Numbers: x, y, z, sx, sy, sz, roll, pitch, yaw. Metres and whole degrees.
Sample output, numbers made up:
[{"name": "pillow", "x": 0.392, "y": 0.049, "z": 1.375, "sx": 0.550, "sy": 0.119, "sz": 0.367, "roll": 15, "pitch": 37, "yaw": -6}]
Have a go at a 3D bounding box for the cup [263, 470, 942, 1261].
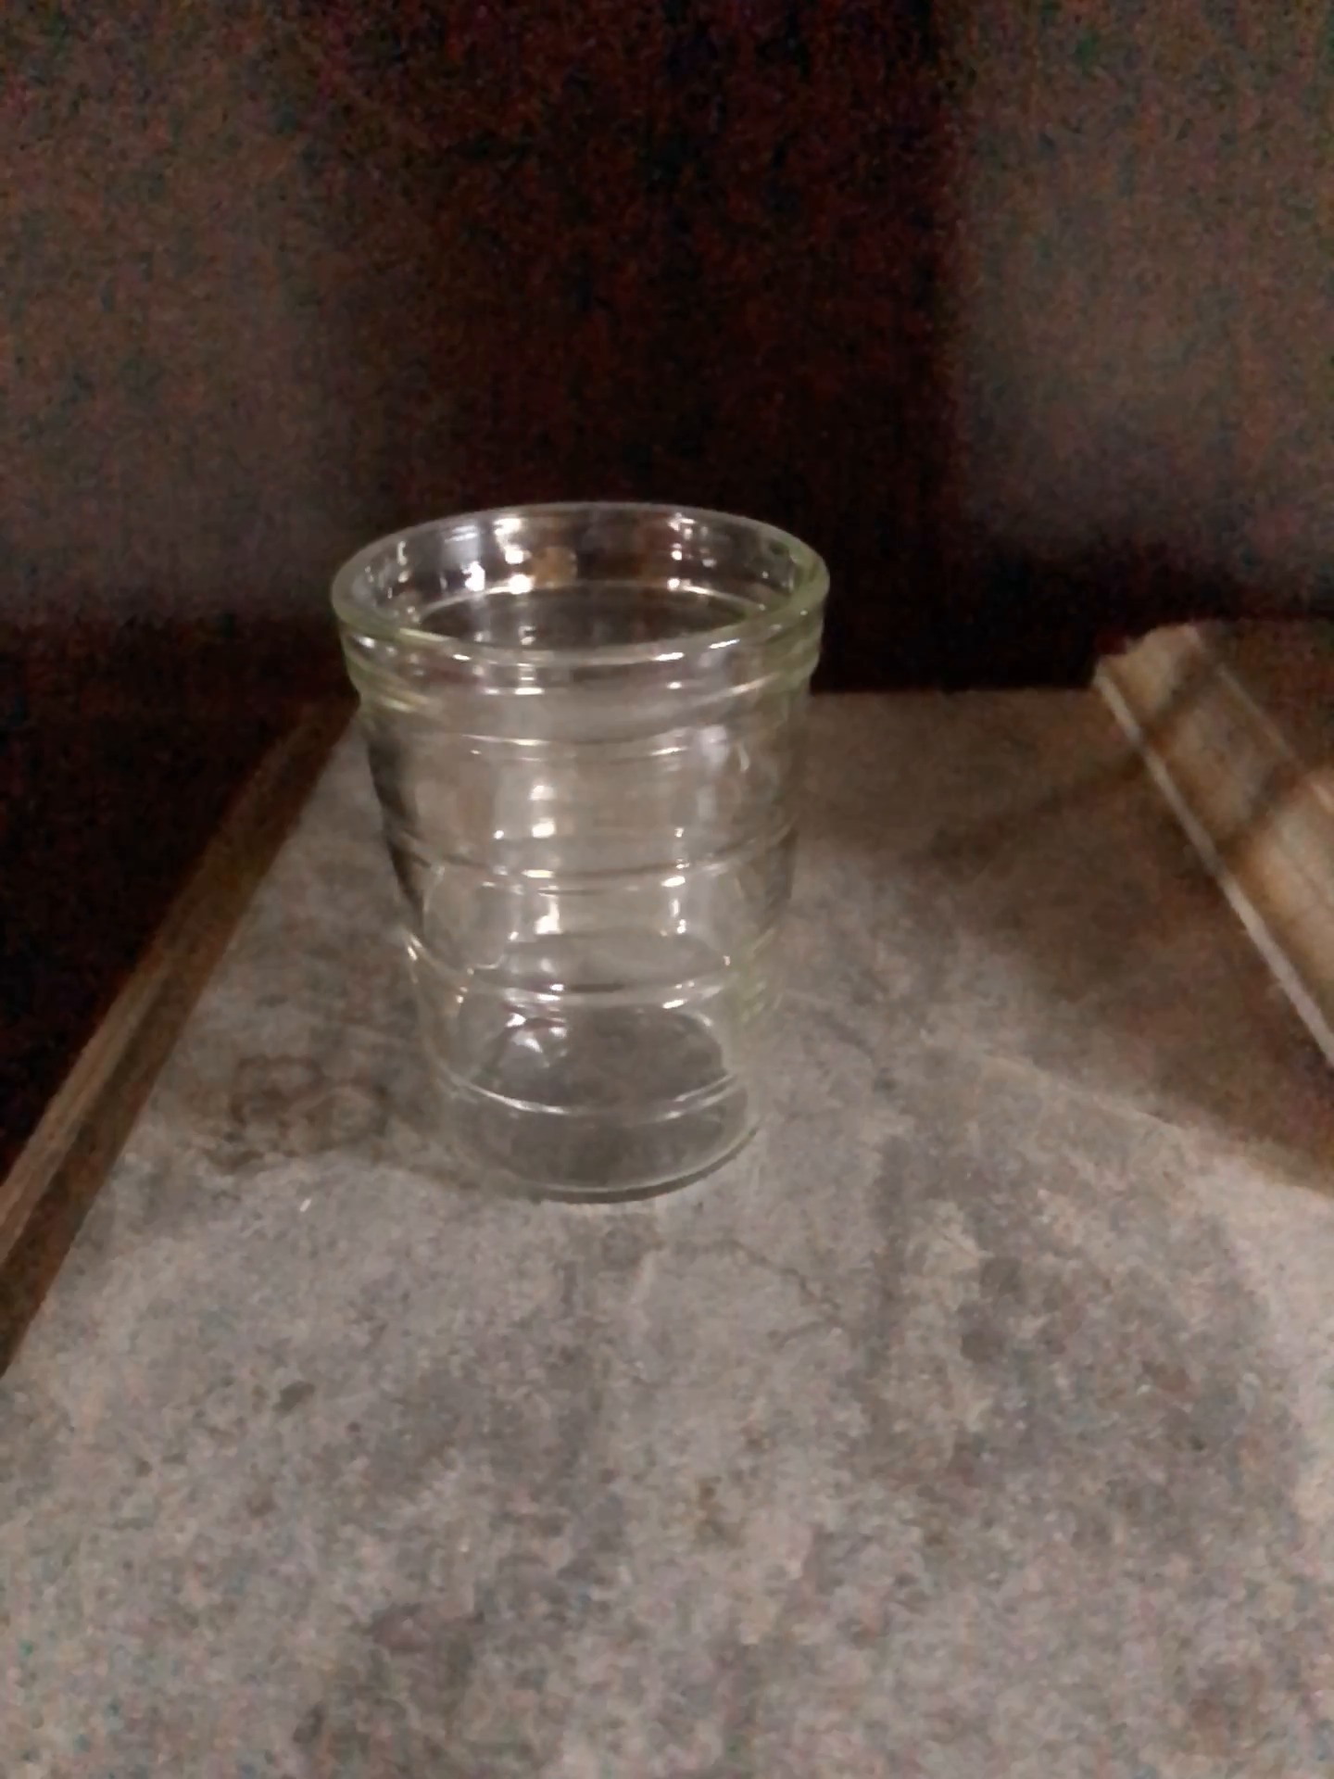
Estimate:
[{"name": "cup", "x": -0.011, "y": -0.009, "z": 0.218, "sx": 0.070, "sy": 0.080, "sz": 0.070, "roll": -2, "pitch": 29, "yaw": 1}]
